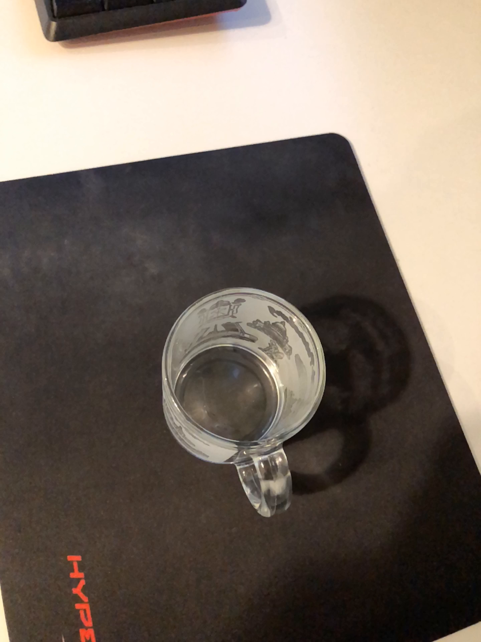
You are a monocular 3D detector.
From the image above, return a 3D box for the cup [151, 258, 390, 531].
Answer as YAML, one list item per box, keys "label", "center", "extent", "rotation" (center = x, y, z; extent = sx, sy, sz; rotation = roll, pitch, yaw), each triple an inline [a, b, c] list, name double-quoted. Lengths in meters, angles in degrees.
- label: "cup"
  center: [0.006, 0.046, 0.309]
  extent: [0.090, 0.107, 0.116]
  rotation: [-11, 73, -11]
